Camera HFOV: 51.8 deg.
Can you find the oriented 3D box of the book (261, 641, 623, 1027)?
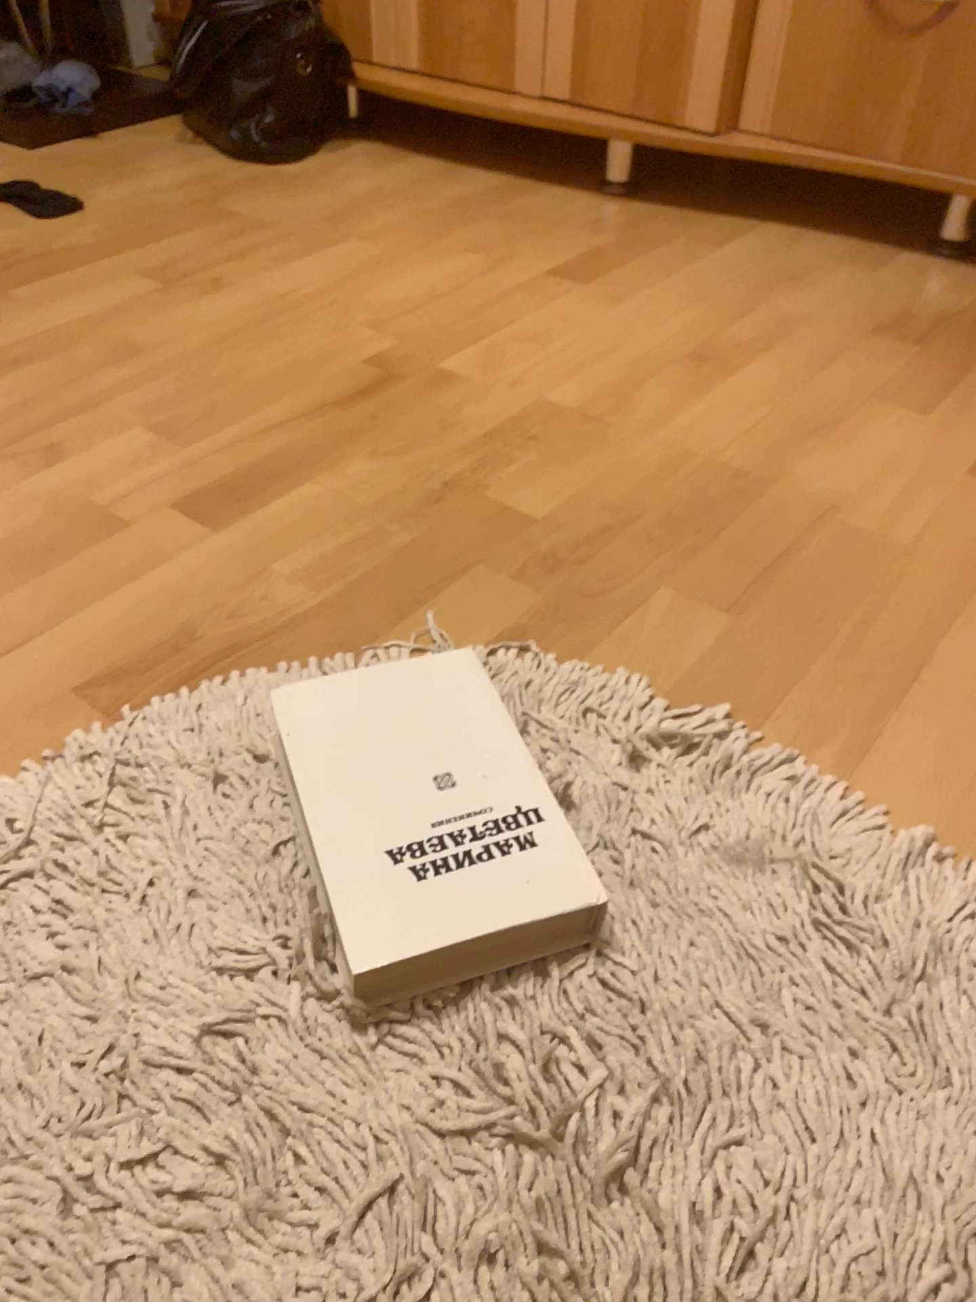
[{"bbox_3d":[-0.036,0.087,0.566,0.140,0.040,0.209,-13,42,-16],"label":"book"}]
